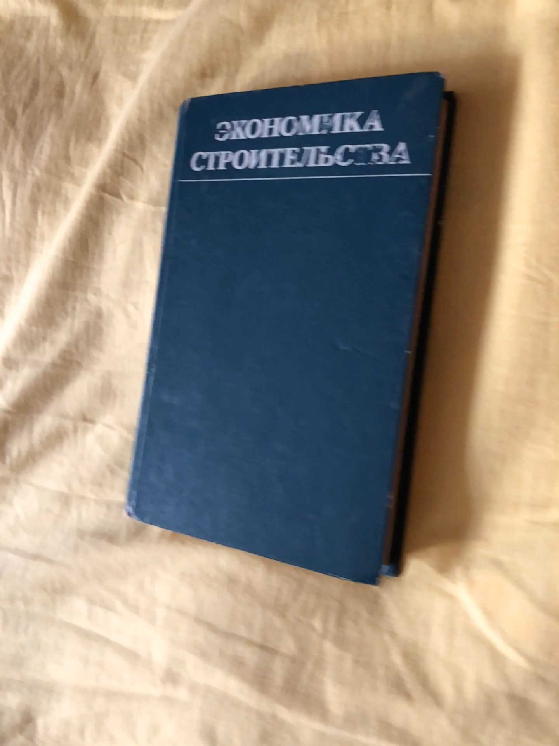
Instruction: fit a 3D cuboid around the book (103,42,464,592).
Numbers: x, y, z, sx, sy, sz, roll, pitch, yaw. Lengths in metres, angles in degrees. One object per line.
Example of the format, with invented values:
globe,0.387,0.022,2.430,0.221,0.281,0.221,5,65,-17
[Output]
book,-0.002,-0.027,0.267,0.130,0.030,0.200,7,89,26
